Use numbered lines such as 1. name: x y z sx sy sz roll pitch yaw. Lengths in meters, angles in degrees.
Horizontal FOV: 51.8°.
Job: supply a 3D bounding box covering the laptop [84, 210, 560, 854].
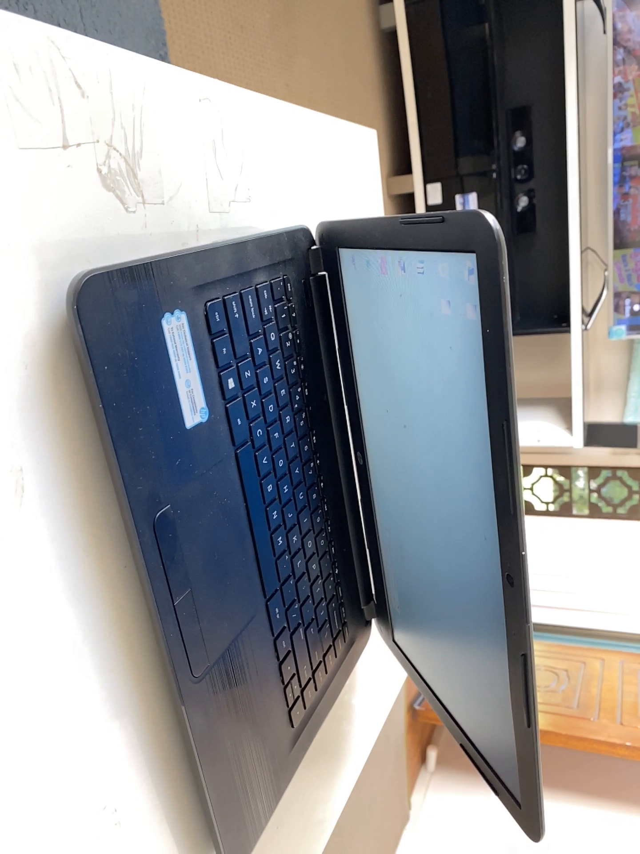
1. laptop: 0.041 0.063 0.391 0.226 0.154 0.336 -39 123 -59
